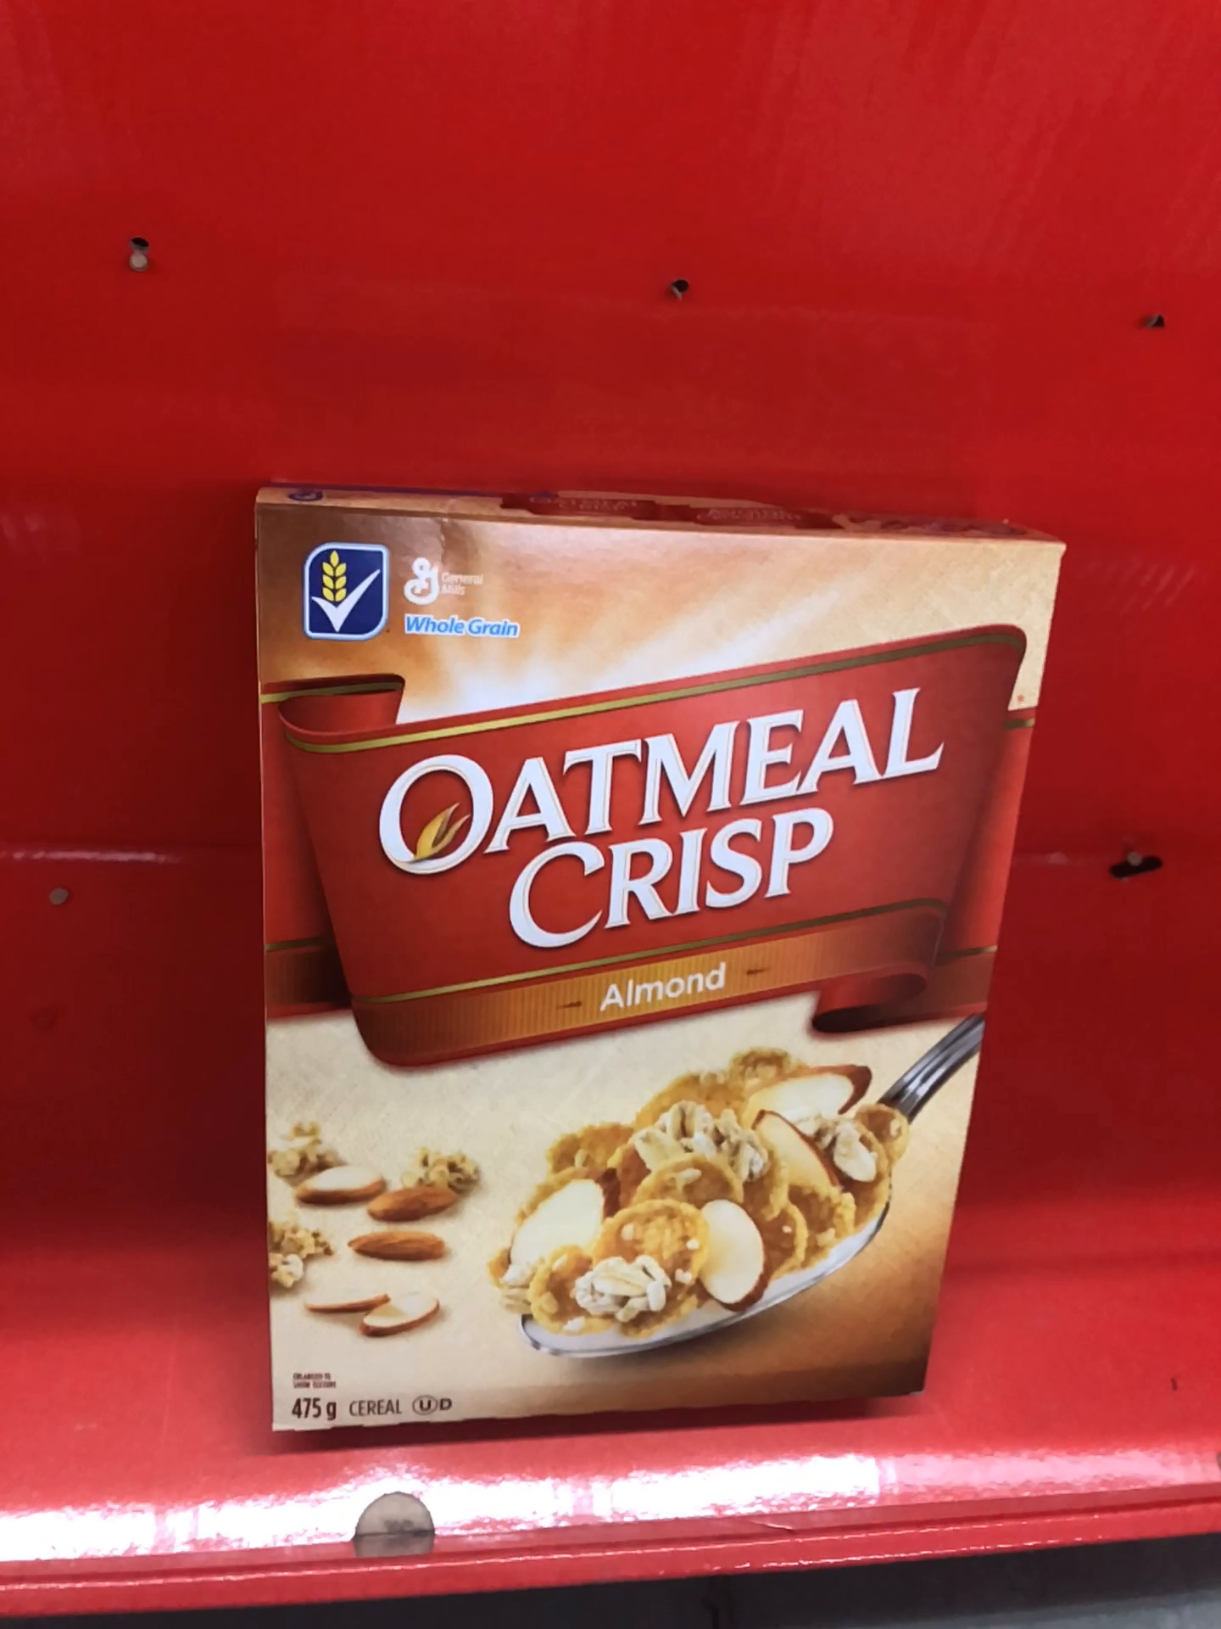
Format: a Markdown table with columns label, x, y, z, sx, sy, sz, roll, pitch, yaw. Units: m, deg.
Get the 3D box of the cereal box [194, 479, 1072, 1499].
| label | x | y | z | sx | sy | sz | roll | pitch | yaw |
| --- | --- | --- | --- | --- | --- | --- | --- | --- | --- |
| cereal box | -0.005 | 0.051 | 0.387 | 0.210 | 0.269 | 0.070 | 1 | 17 | -12 |
